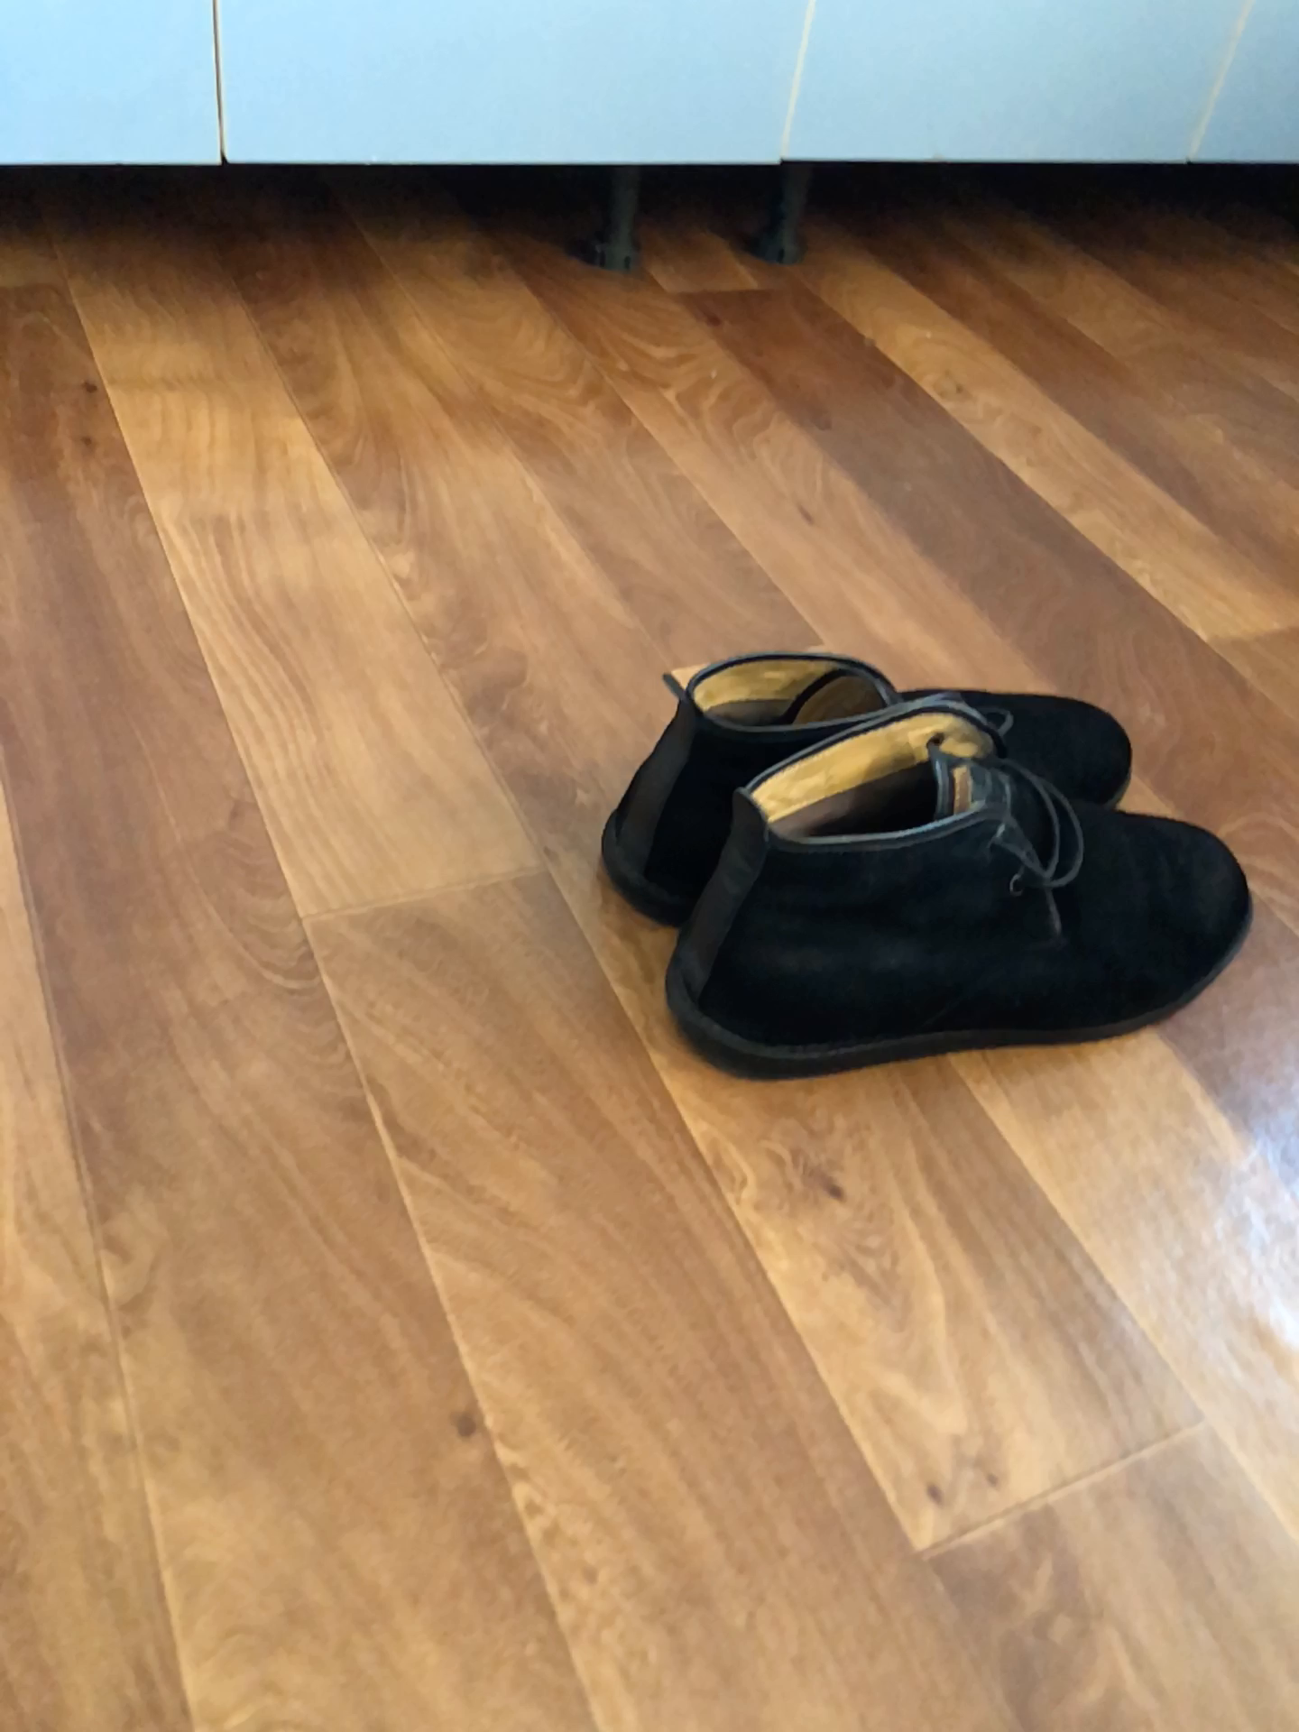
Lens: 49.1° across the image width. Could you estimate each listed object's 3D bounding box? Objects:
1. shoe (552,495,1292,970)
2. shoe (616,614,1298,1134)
[{"bbox_3d":[0.118,-0.068,0.640,0.291,0.129,0.110,-12,47,-24],"label":"shoe"},{"bbox_3d":[0.149,-0.005,0.566,0.291,0.129,0.111,-8,46,-20],"label":"shoe"}]
